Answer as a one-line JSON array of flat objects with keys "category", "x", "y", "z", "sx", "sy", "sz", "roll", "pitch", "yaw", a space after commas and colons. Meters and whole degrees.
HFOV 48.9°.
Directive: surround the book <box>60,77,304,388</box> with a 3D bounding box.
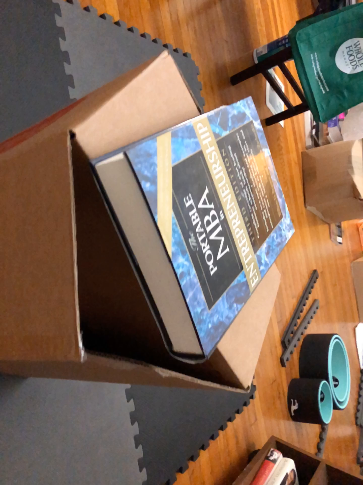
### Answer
[{"category": "book", "x": 0.037, "y": -0.034, "z": 0.403, "sx": 0.271, "sy": 0.060, "sz": 0.210, "roll": -44, "pitch": 118, "yaw": -51}]
